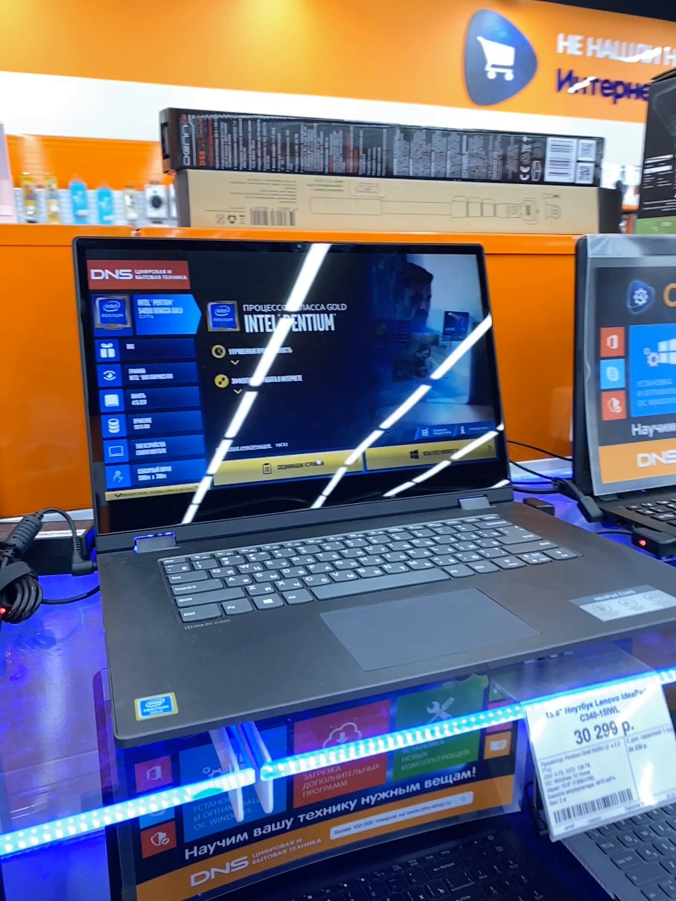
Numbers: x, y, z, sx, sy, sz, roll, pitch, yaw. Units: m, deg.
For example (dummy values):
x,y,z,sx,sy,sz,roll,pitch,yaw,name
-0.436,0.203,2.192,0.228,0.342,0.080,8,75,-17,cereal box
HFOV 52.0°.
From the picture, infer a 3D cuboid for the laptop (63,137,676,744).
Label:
x,y,z,sx,sy,sz,roll,pitch,yaw,name
0.017,-0.037,0.473,0.362,0.232,0.318,-5,12,-21,laptop
